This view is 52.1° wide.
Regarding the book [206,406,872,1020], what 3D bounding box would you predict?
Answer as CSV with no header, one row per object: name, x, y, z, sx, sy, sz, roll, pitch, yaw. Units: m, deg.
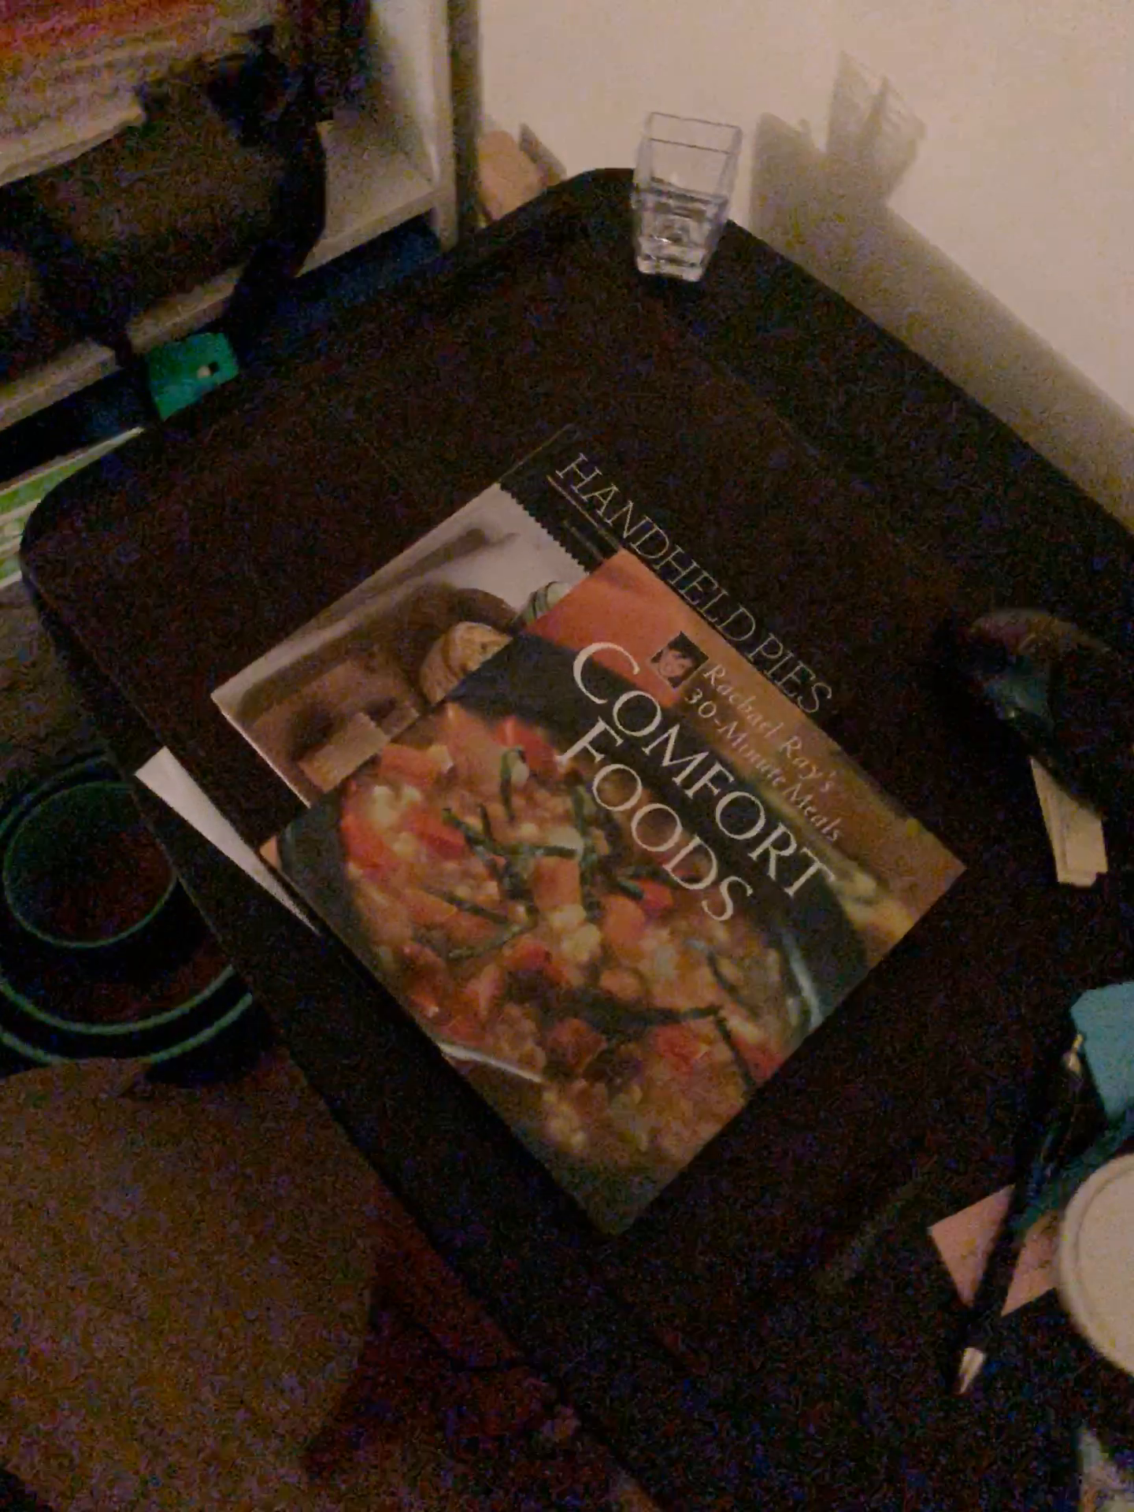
book,-0.010,-0.030,0.503,0.220,0.020,0.180,-41,76,-16

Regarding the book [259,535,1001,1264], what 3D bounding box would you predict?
book,0.026,0.043,0.460,0.210,0.020,0.200,-41,76,-16
